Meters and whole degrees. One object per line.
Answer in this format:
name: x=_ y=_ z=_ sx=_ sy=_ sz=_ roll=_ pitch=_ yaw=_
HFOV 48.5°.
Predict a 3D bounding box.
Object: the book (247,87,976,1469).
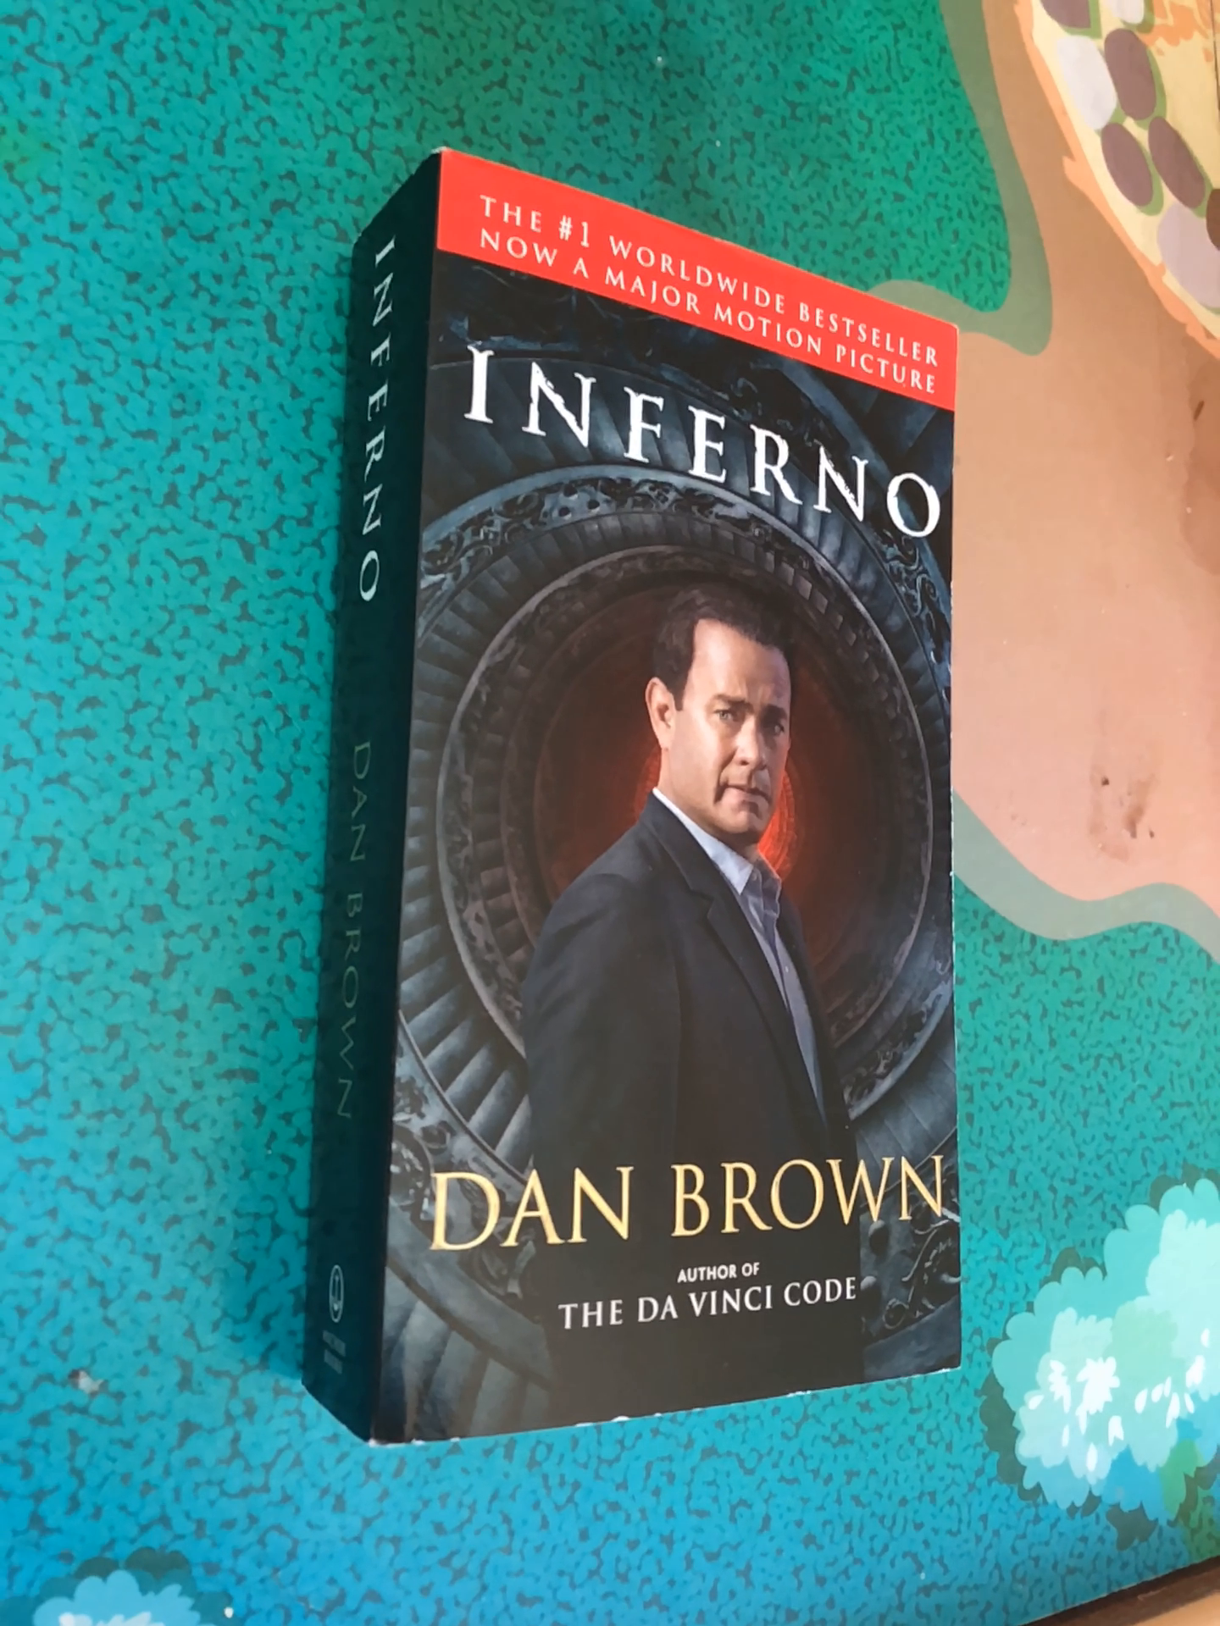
book: x=0.005 y=-0.003 z=0.247 sx=0.110 sy=0.060 sz=0.200 roll=7 pitch=81 yaw=-31
